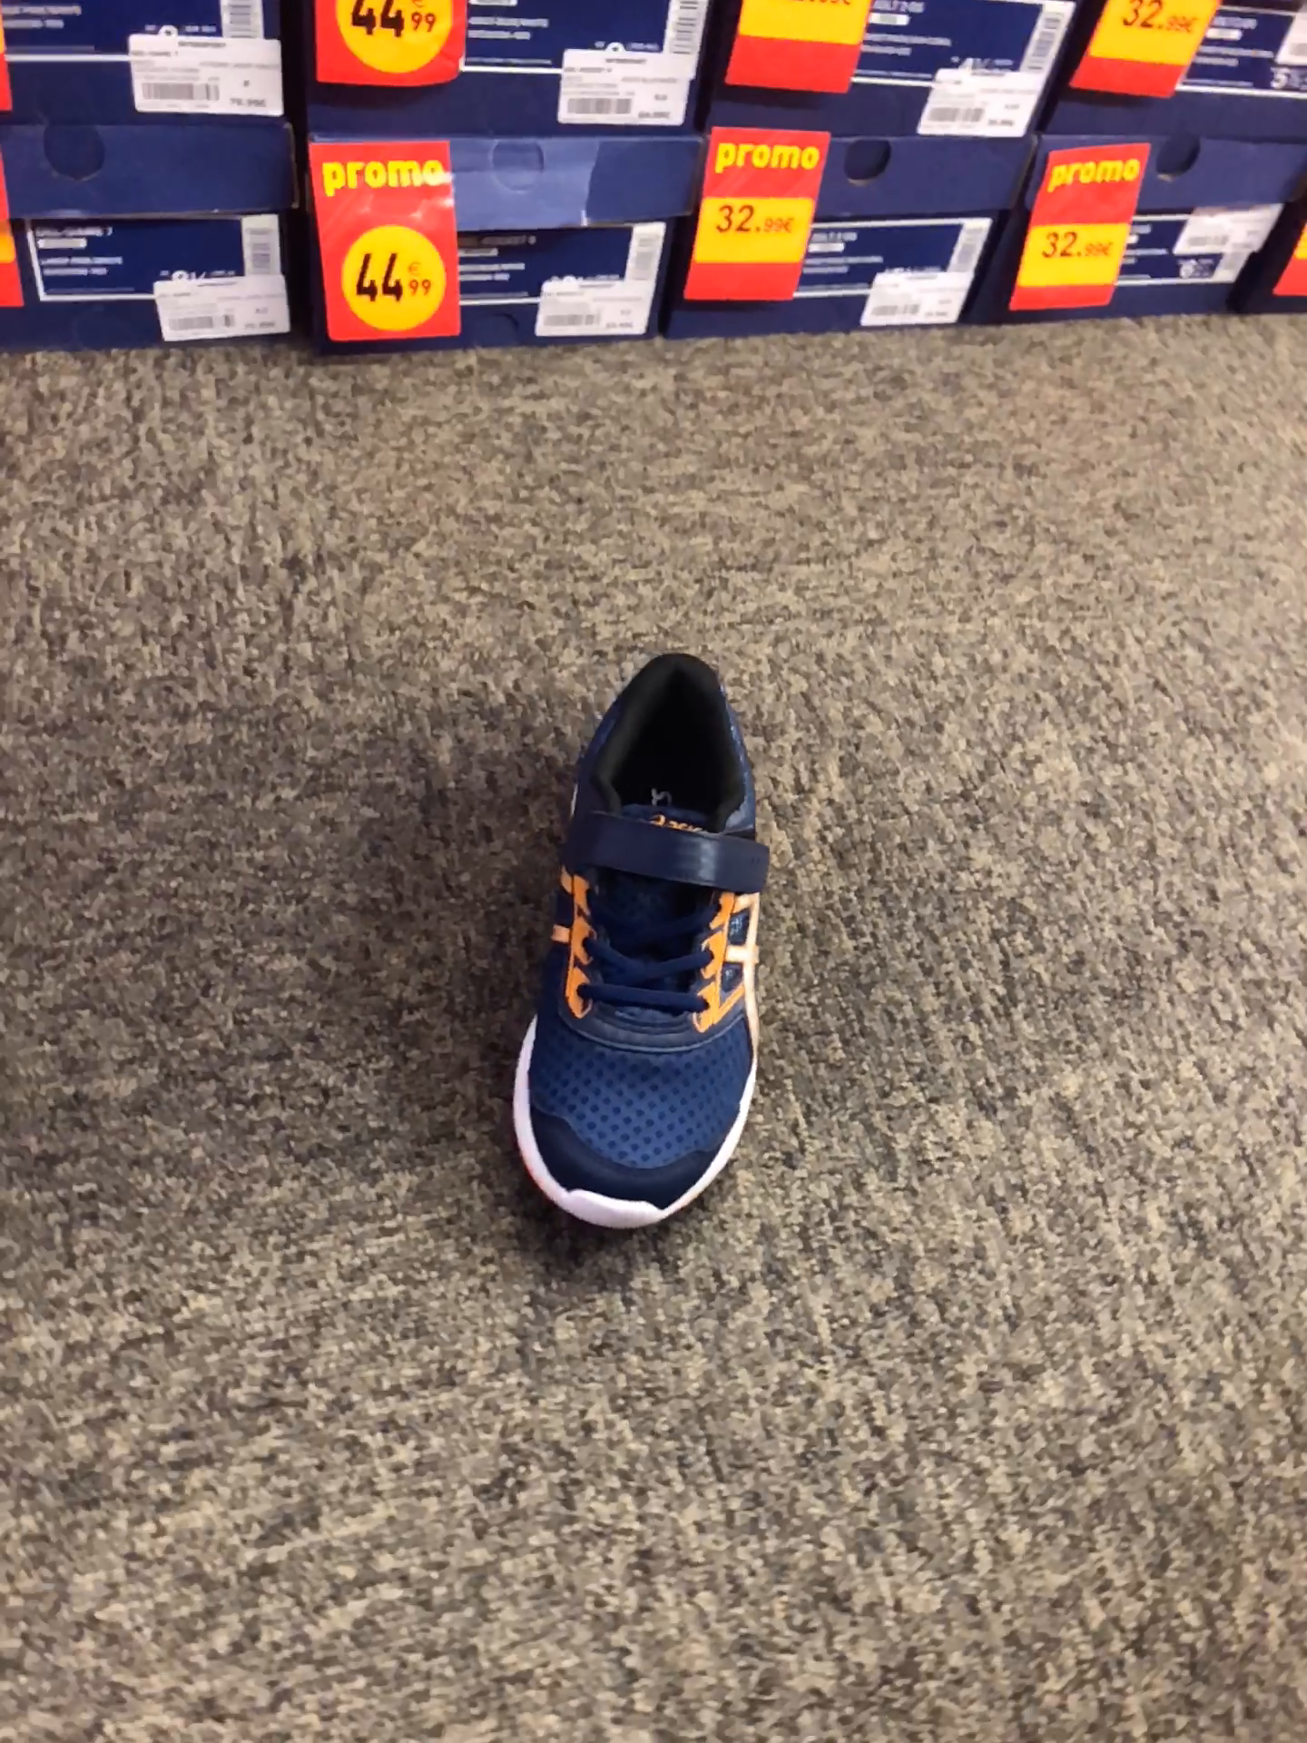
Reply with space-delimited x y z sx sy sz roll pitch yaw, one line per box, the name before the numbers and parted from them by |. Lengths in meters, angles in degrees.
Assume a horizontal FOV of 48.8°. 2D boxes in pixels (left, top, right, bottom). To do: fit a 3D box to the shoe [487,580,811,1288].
shoe | 0.002 0.017 0.533 0.090 0.099 0.236 8 53 -5
